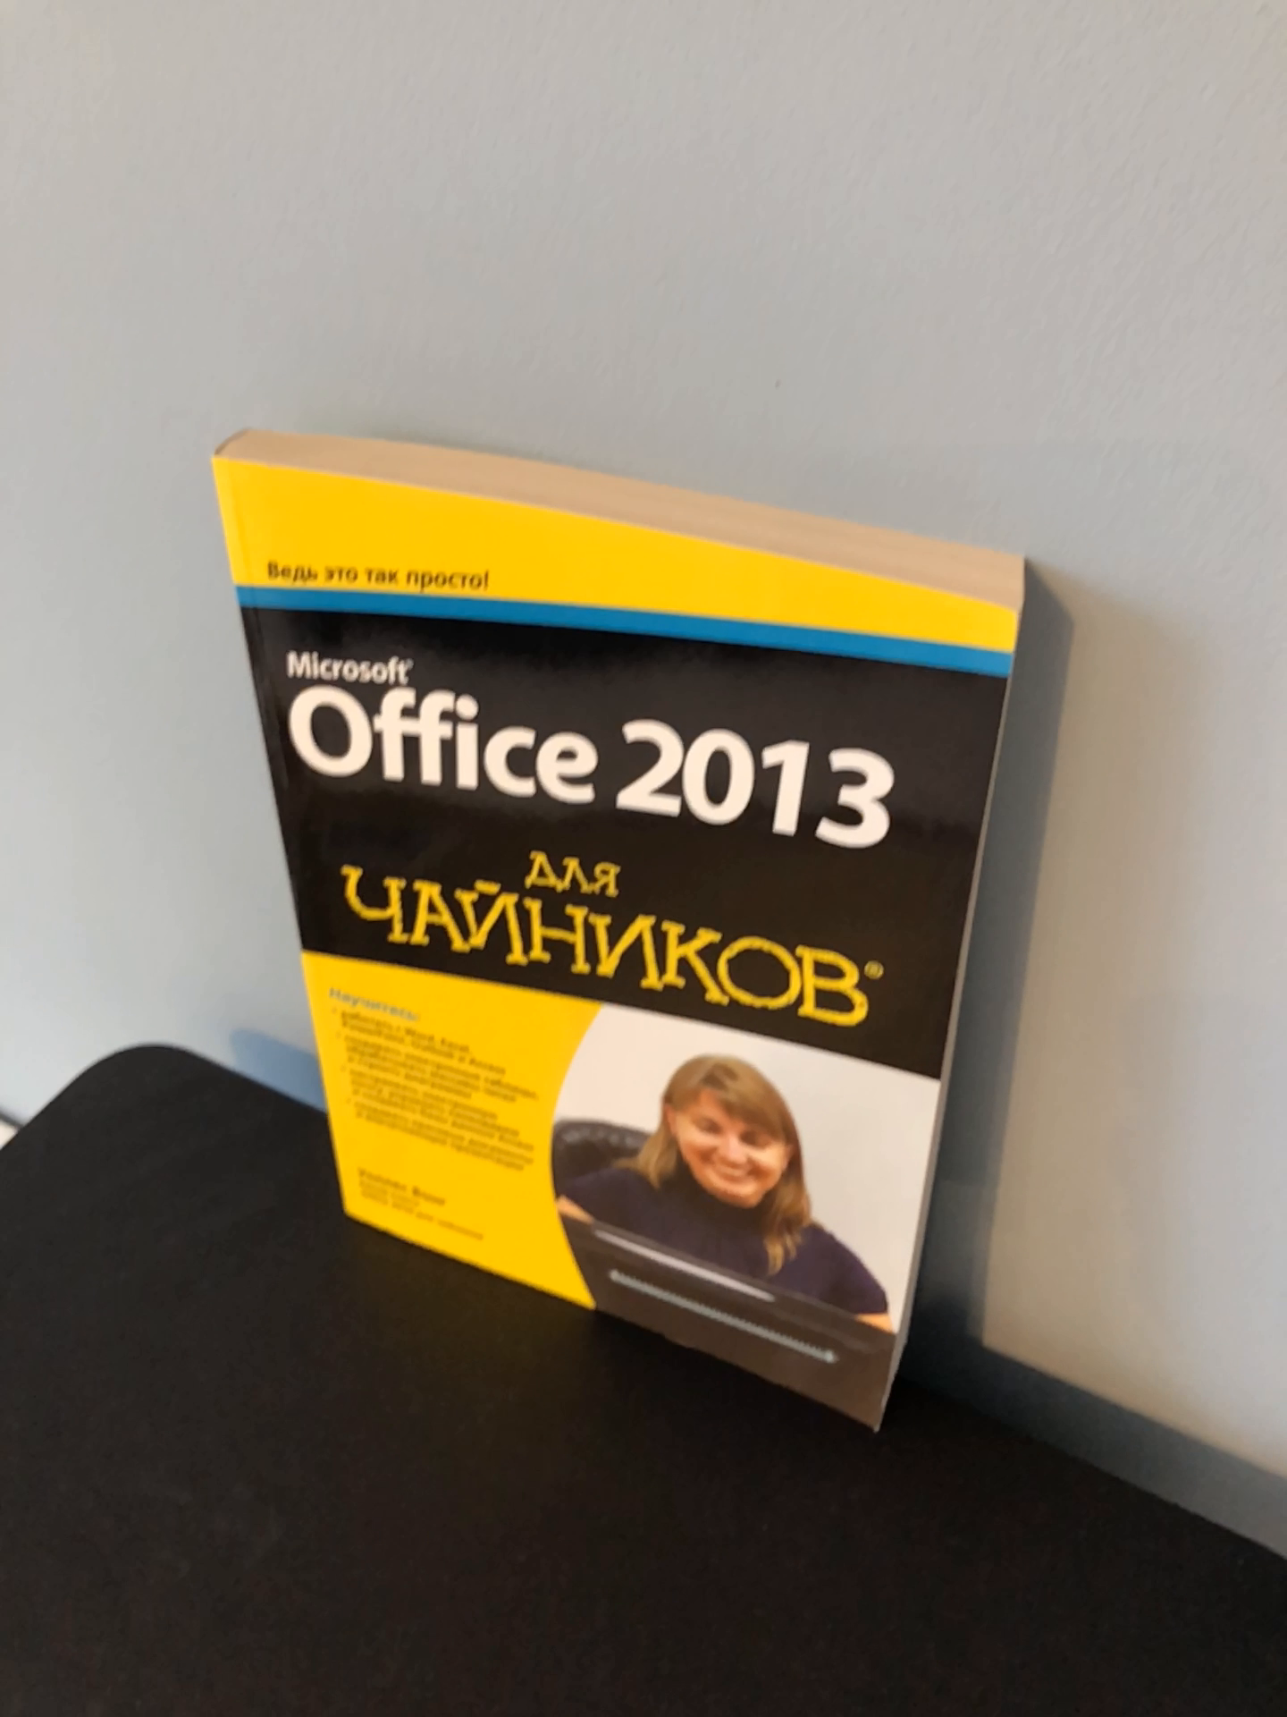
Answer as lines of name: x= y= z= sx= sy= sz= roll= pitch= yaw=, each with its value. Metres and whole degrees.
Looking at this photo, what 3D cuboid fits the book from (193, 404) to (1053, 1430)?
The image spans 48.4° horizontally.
book: x=-0.008 y=0.024 z=0.338 sx=0.164 sy=0.232 sz=0.031 roll=15 pitch=39 yaw=20
